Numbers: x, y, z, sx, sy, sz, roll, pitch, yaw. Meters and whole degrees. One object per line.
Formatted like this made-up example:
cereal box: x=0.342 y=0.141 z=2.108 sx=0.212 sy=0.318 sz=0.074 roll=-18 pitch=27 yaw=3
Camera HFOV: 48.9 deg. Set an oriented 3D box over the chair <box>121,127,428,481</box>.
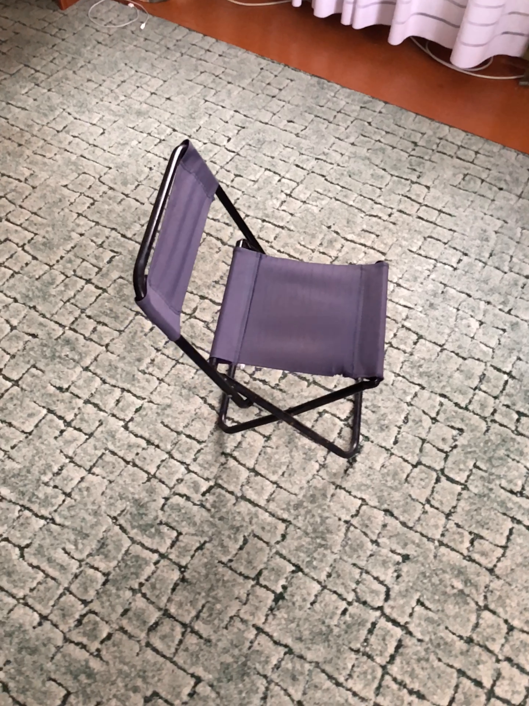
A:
chair: x=0.025 y=-0.053 z=1.066 sx=0.398 sy=0.537 sz=0.343 roll=7 pitch=57 yaw=3
